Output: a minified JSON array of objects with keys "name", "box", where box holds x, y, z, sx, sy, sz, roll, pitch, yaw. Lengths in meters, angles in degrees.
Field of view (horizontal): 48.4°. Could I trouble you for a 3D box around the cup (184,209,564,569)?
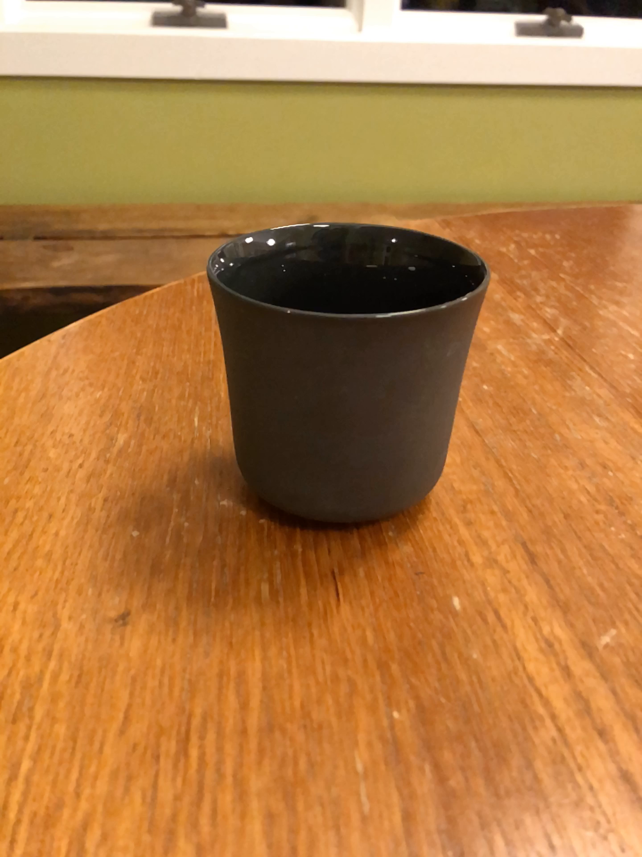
[{"name":"cup","box":[0.008,-0.018,0.207,0.079,0.068,0.075,1,31,-1]}]
